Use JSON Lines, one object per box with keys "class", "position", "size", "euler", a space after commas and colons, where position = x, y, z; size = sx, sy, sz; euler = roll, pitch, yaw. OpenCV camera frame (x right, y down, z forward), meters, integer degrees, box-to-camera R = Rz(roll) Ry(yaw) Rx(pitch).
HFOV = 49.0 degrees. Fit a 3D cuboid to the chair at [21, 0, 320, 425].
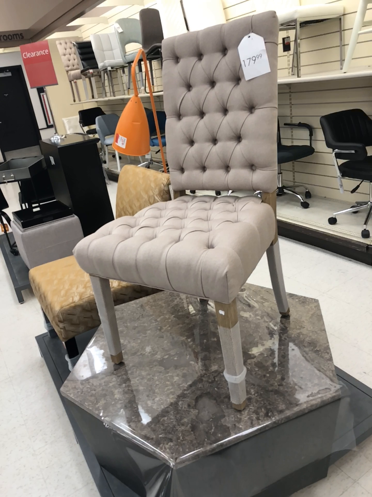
{"class": "chair", "position": [0.039, -0.134, 1.314], "size": [0.571, 1.046, 0.581], "euler": [7, 27, 35]}
